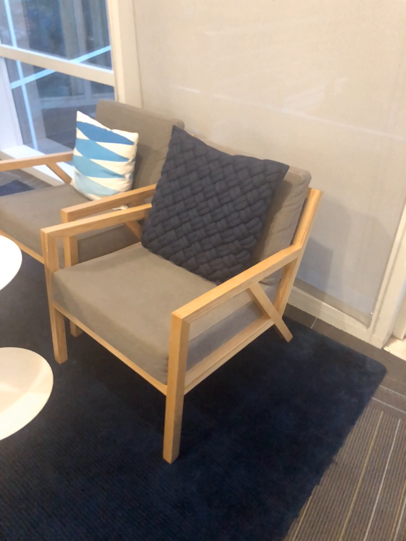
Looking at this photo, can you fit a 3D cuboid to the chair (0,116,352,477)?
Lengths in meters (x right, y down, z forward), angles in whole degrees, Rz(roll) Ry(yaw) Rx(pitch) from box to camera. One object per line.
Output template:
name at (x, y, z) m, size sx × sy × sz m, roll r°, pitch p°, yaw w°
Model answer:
chair at (-0.072, -0.008, 1.623) m, size 0.741 × 0.773 × 0.856 m, roll 27°, pitch 42°, yaw 33°
